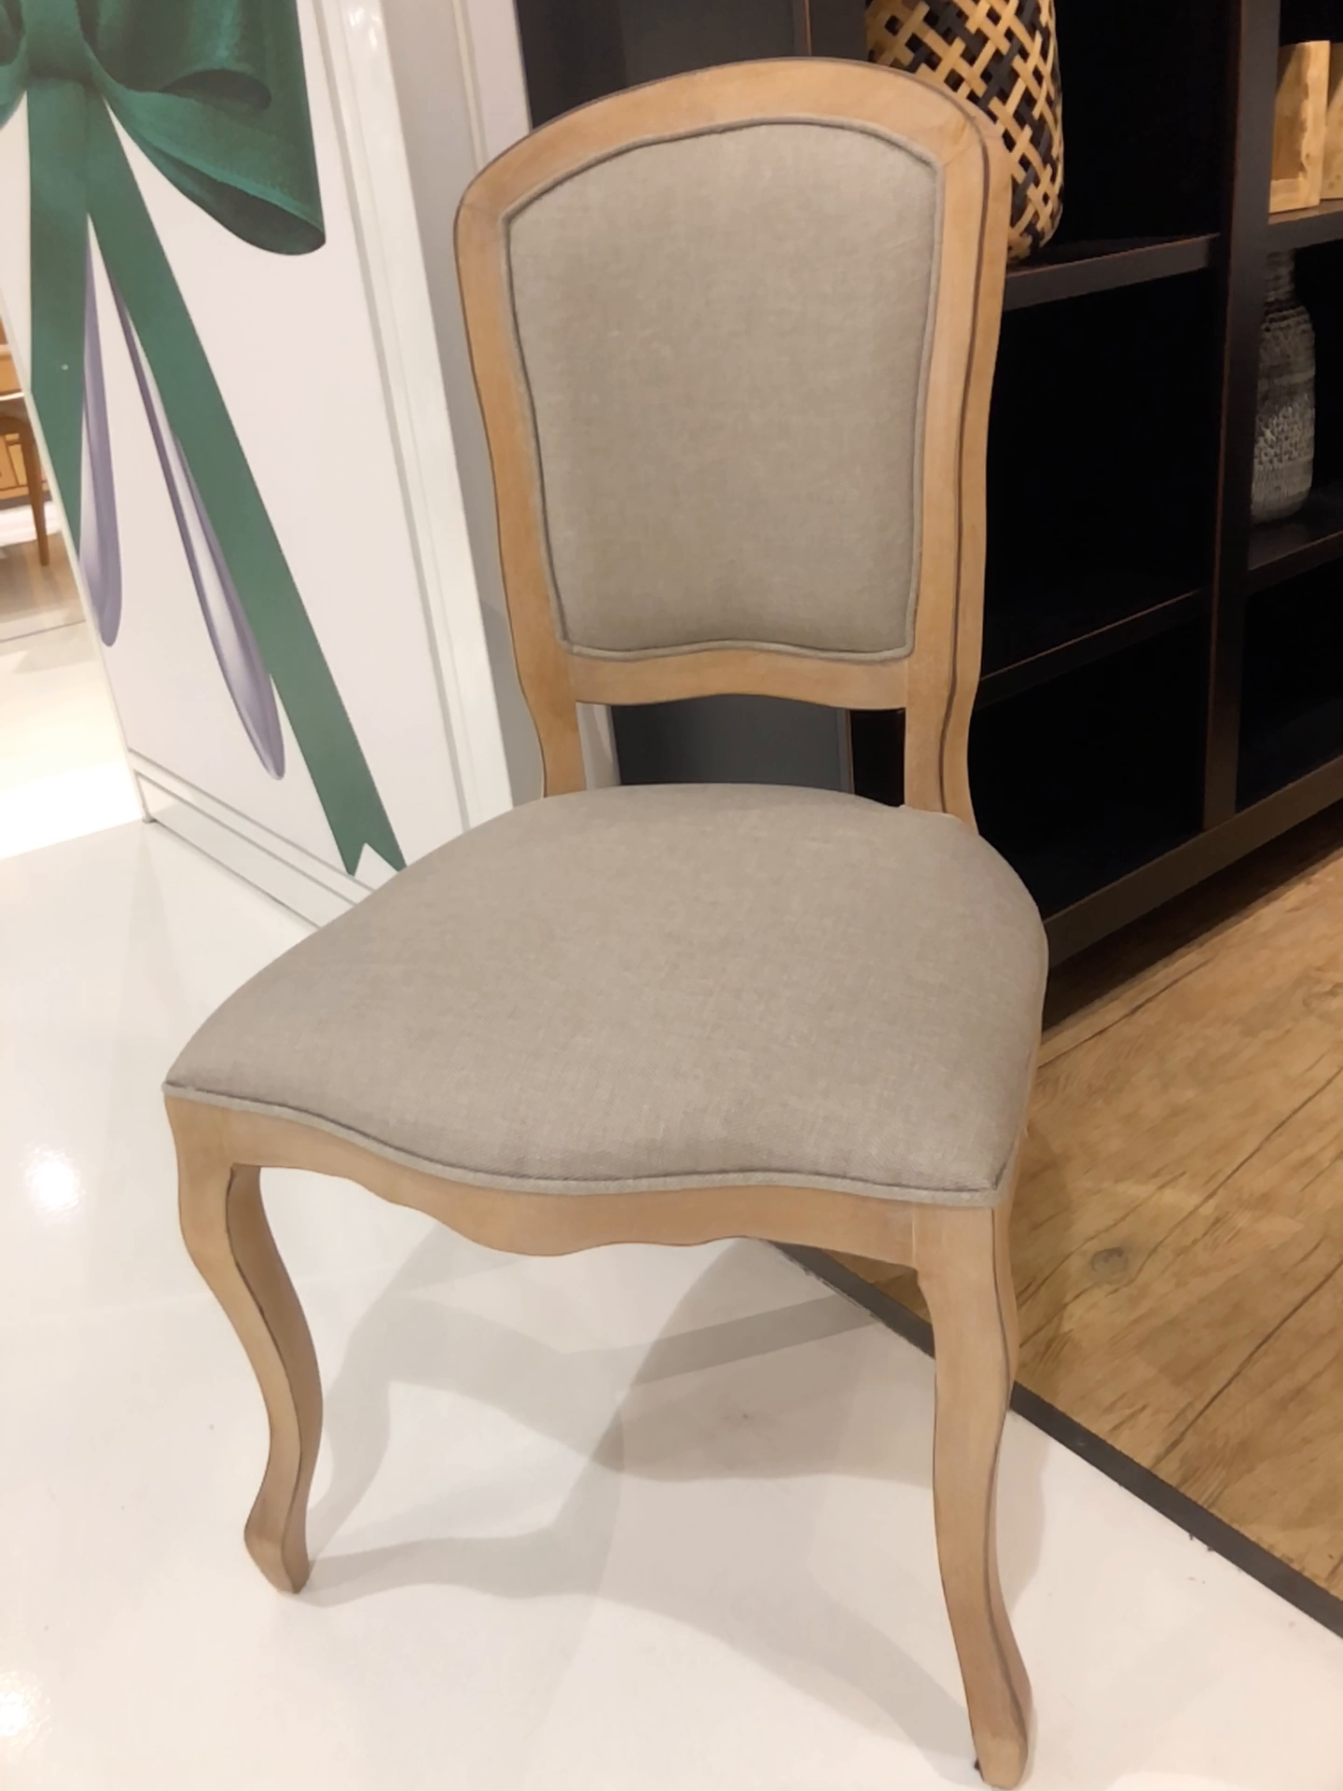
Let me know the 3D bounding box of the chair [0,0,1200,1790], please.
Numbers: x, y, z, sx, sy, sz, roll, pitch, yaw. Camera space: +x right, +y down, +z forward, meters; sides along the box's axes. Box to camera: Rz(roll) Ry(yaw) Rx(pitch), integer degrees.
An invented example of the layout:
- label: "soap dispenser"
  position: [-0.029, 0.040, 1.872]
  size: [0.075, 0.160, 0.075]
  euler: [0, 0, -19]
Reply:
- label: "chair"
  position: [-0.018, -0.055, 0.932]
  size: [0.600, 0.874, 0.554]
  euler: [4, 27, 21]
